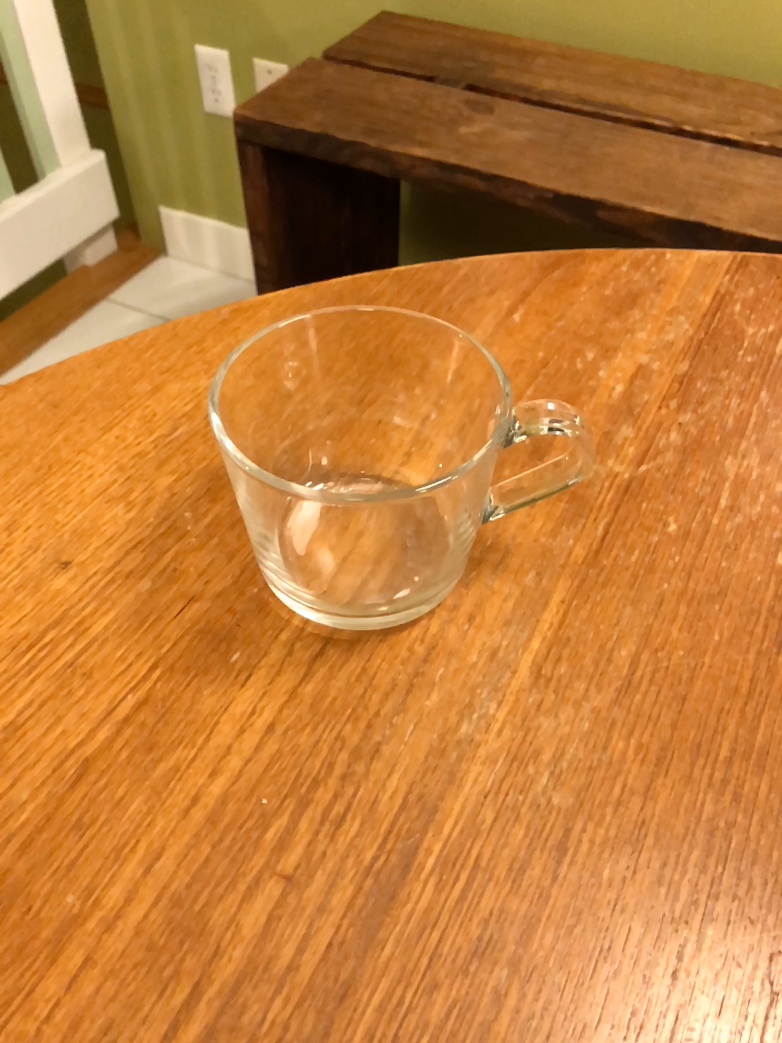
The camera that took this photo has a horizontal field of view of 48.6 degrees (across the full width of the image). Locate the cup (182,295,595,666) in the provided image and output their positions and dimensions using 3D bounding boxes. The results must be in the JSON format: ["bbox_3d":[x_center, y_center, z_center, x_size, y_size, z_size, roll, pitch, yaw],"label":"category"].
[{"bbox_3d":[0.000,-0.015,0.319,0.120,0.089,0.101,1,48,1],"label":"cup"}]
